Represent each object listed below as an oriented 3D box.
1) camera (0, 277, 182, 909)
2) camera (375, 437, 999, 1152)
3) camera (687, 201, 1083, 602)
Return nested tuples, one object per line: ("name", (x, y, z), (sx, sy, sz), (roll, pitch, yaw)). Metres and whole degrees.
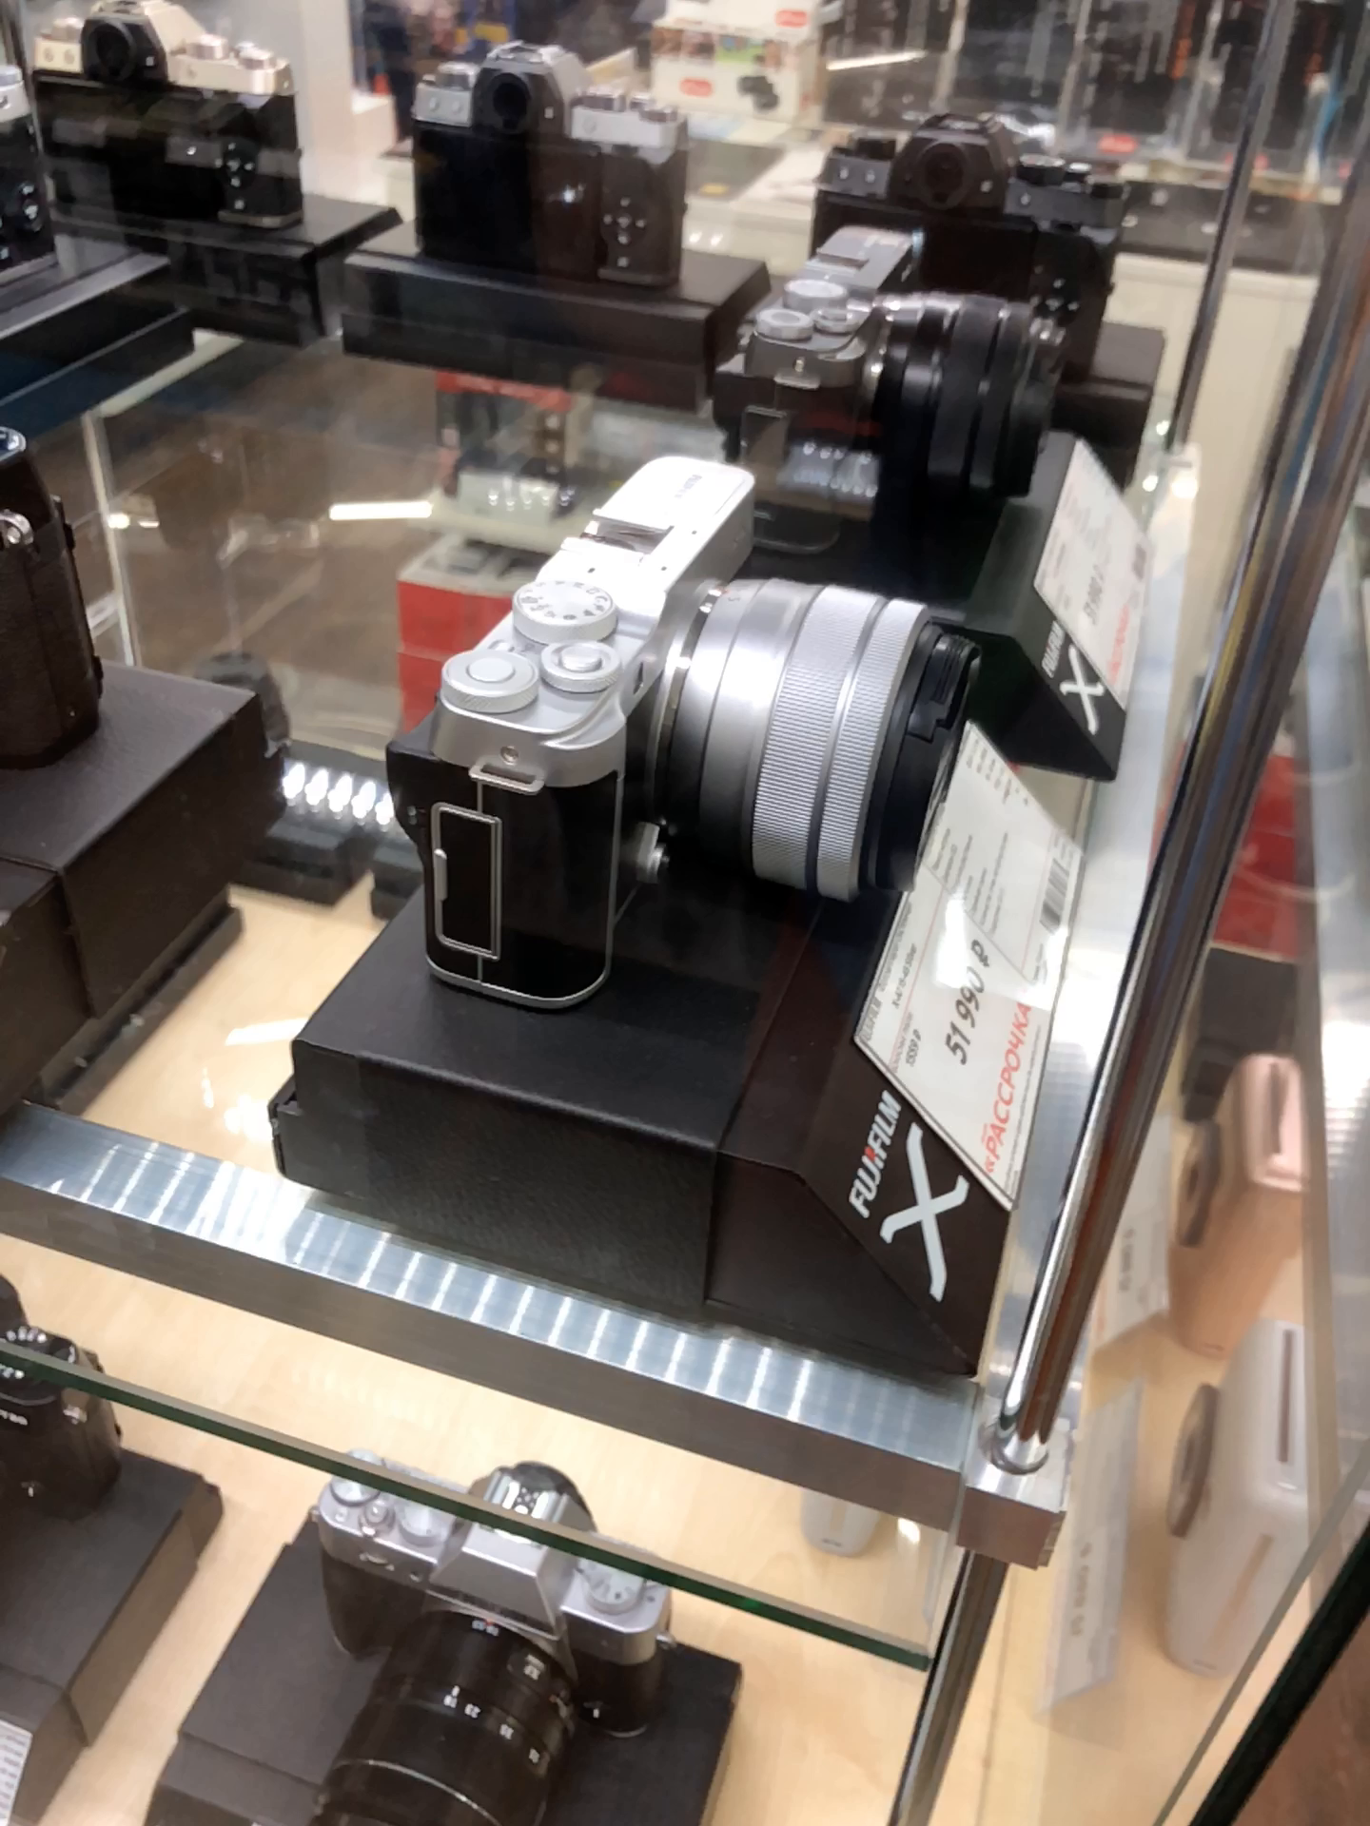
("camera", (-0.189, -0.073, 0.321), (0.115, 0.080, 0.097), (13, 38, 11))
("camera", (0.006, -0.033, 0.318), (0.084, 0.080, 0.127), (15, 38, 13))
("camera", (0.066, -0.170, 0.495), (0.096, 0.080, 0.116), (14, 38, 12))
